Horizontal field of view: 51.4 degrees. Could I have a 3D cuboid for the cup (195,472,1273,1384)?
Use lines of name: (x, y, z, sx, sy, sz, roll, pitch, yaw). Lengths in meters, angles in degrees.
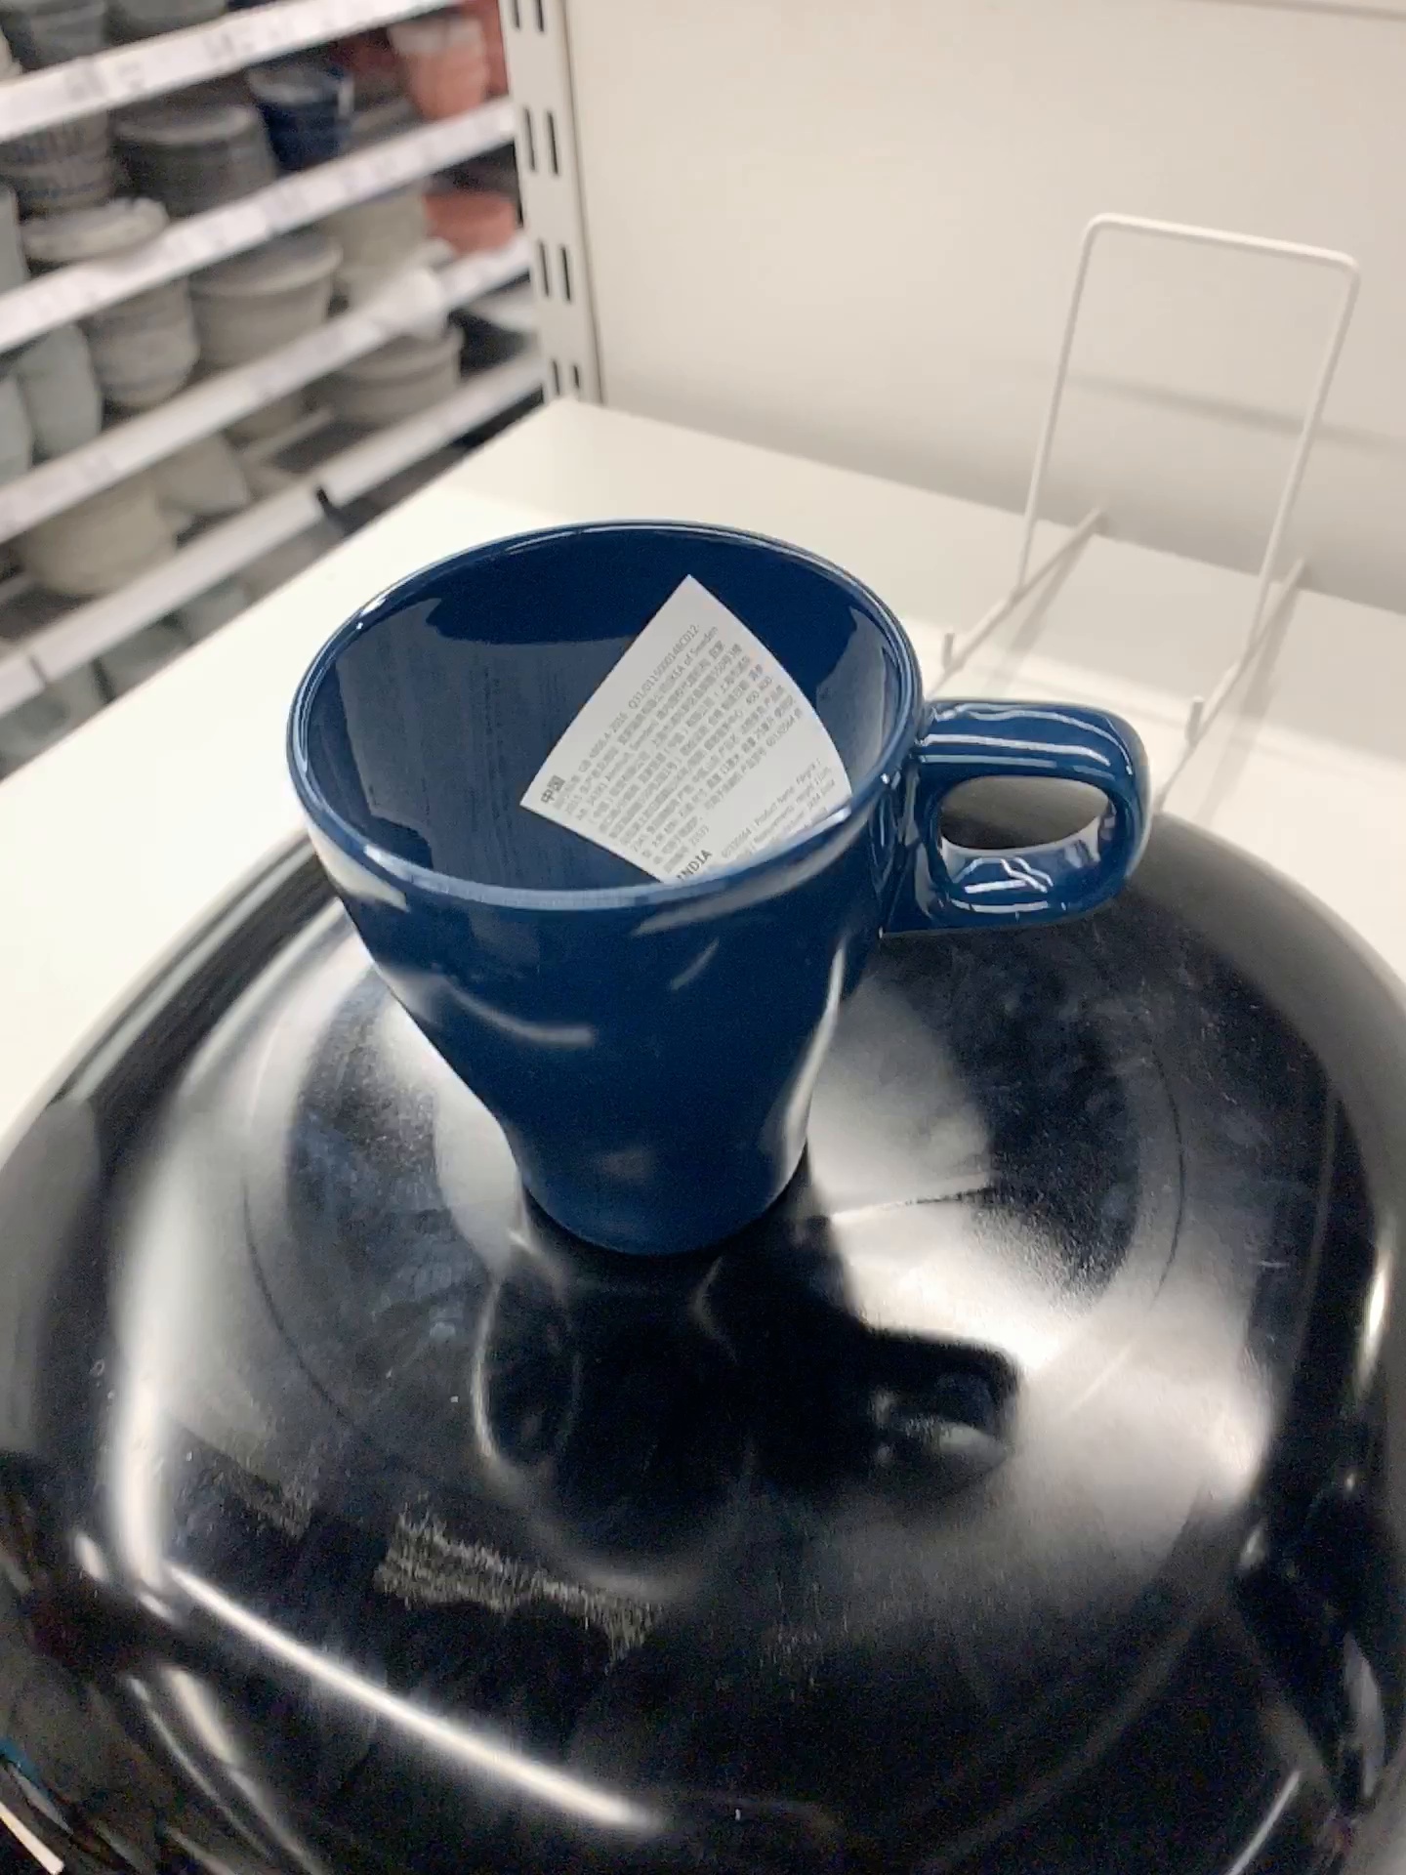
cup: (0.002, -0.002, 0.229, 0.120, 0.100, 0.090, -4, 43, -2)
